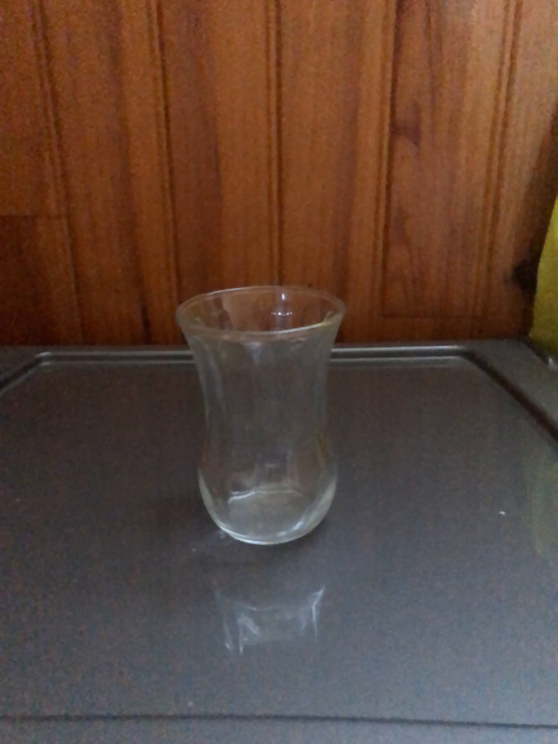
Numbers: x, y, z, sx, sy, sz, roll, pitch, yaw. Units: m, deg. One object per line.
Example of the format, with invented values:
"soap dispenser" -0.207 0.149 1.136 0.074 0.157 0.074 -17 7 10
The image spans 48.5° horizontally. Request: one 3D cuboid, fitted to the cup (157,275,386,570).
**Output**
"cup" -0.005 0.013 0.227 0.060 0.080 0.060 -1 22 0
